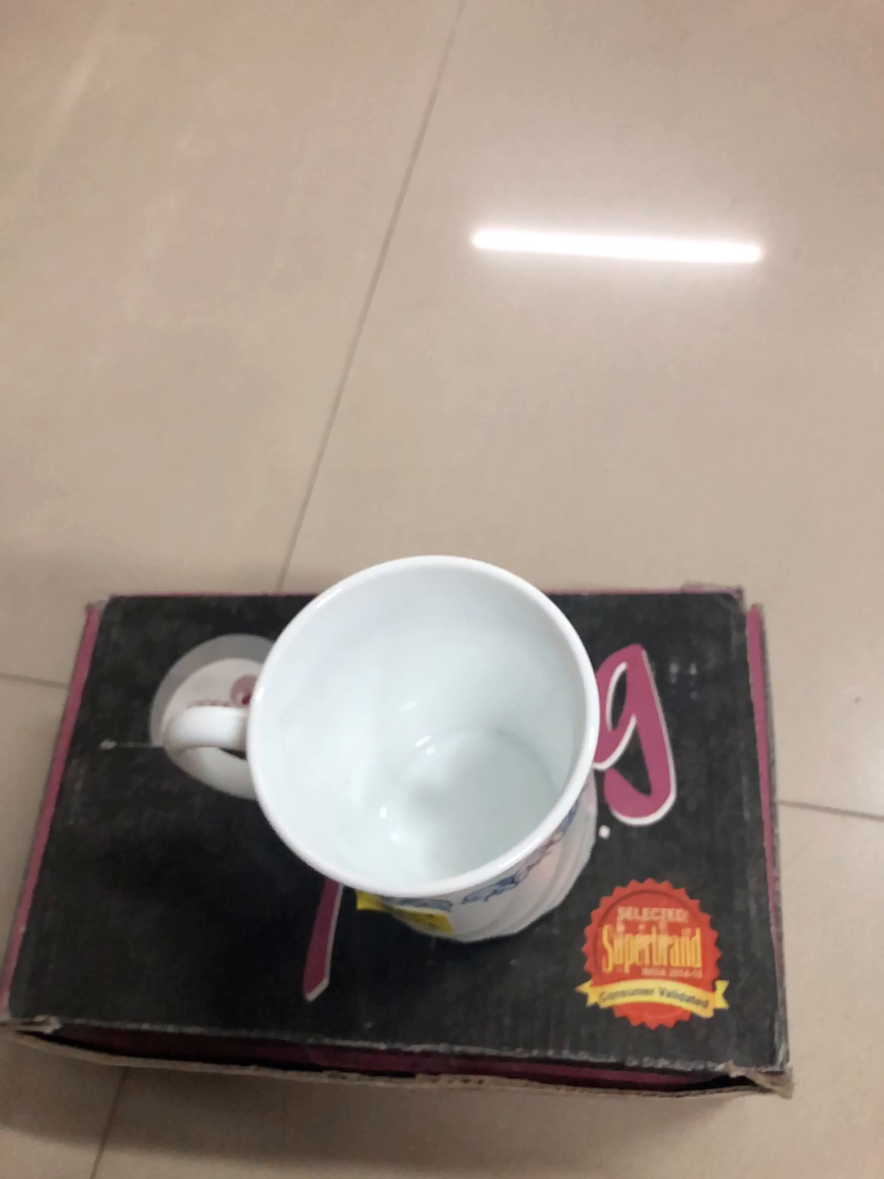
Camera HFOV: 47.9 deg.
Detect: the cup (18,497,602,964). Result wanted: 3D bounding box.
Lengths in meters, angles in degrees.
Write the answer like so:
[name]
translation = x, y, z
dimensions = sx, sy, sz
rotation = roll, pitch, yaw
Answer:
[cup]
translation = -0.021, 0.039, 0.262
dimensions = 0.120, 0.090, 0.090
rotation = 2, 63, 10
